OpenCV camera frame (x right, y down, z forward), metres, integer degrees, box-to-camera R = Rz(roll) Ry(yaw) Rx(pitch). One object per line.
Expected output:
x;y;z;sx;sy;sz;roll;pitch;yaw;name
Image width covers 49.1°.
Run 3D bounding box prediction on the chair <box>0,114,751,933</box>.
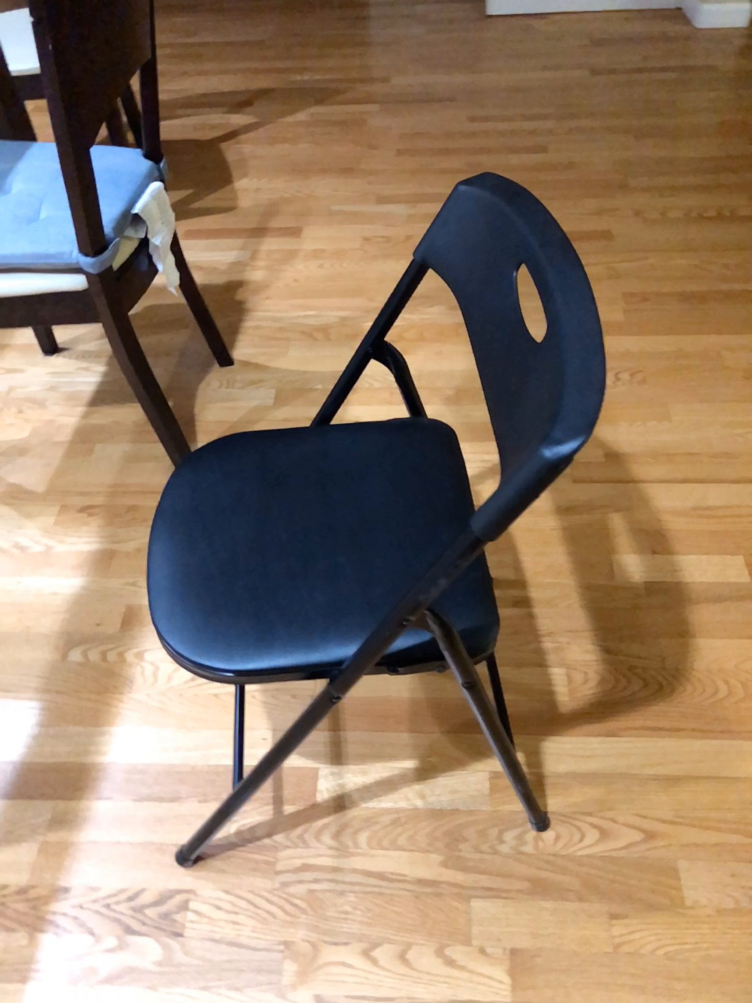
-0.018;0.039;0.968;0.680;0.657;0.613;-6;47;-1;chair
